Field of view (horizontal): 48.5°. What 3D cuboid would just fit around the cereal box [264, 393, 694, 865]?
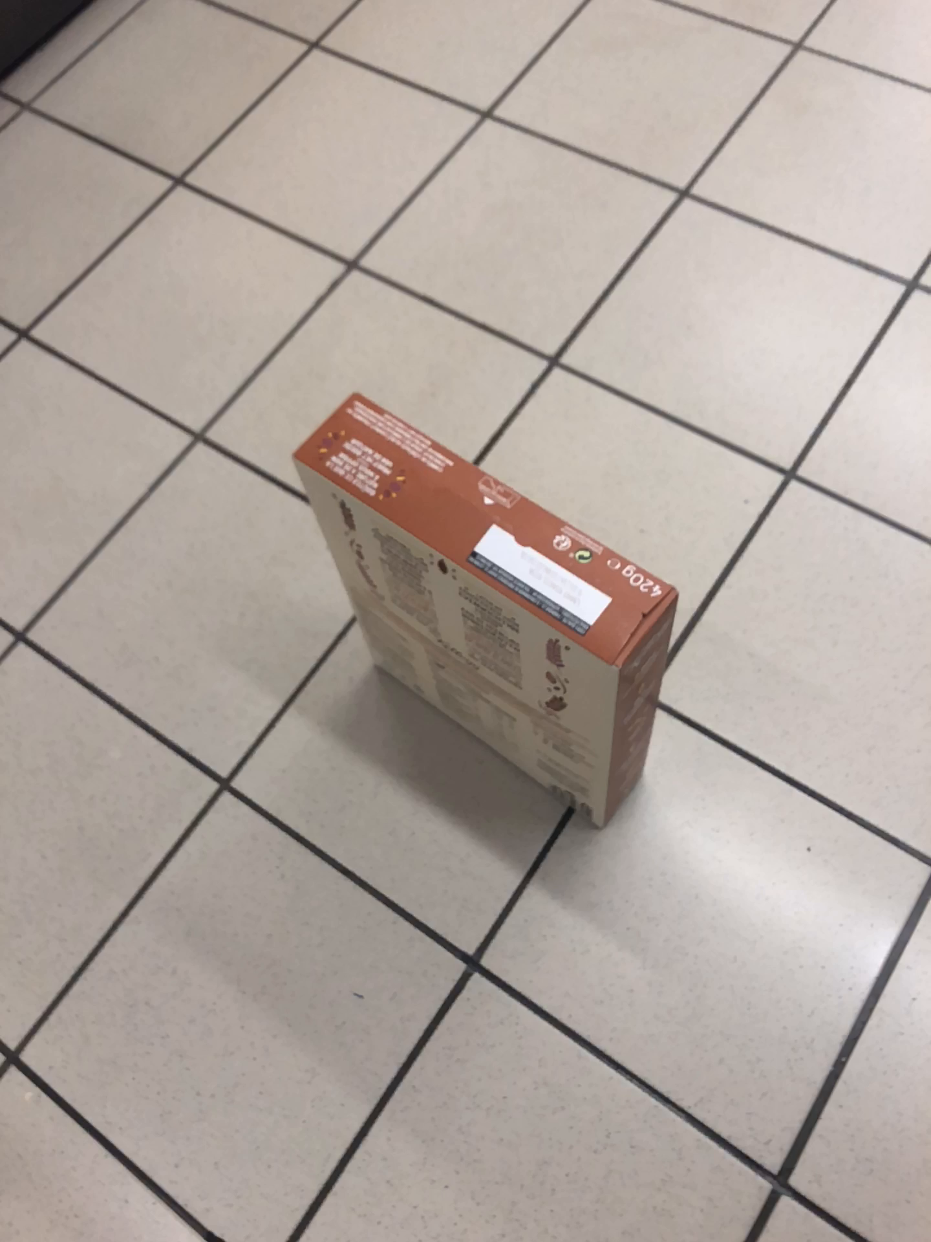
[{"bbox_3d":[0.010,0.020,0.560,0.200,0.249,0.050,34,70,20],"label":"cereal box"}]
